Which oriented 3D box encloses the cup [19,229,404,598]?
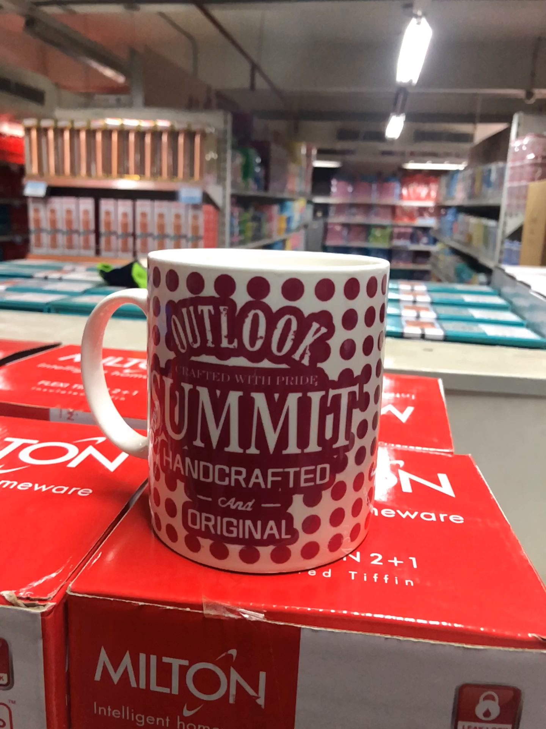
[{"bbox_3d":[-0.015,0.007,0.219,0.110,0.100,0.080,5,15,10],"label":"cup"}]
